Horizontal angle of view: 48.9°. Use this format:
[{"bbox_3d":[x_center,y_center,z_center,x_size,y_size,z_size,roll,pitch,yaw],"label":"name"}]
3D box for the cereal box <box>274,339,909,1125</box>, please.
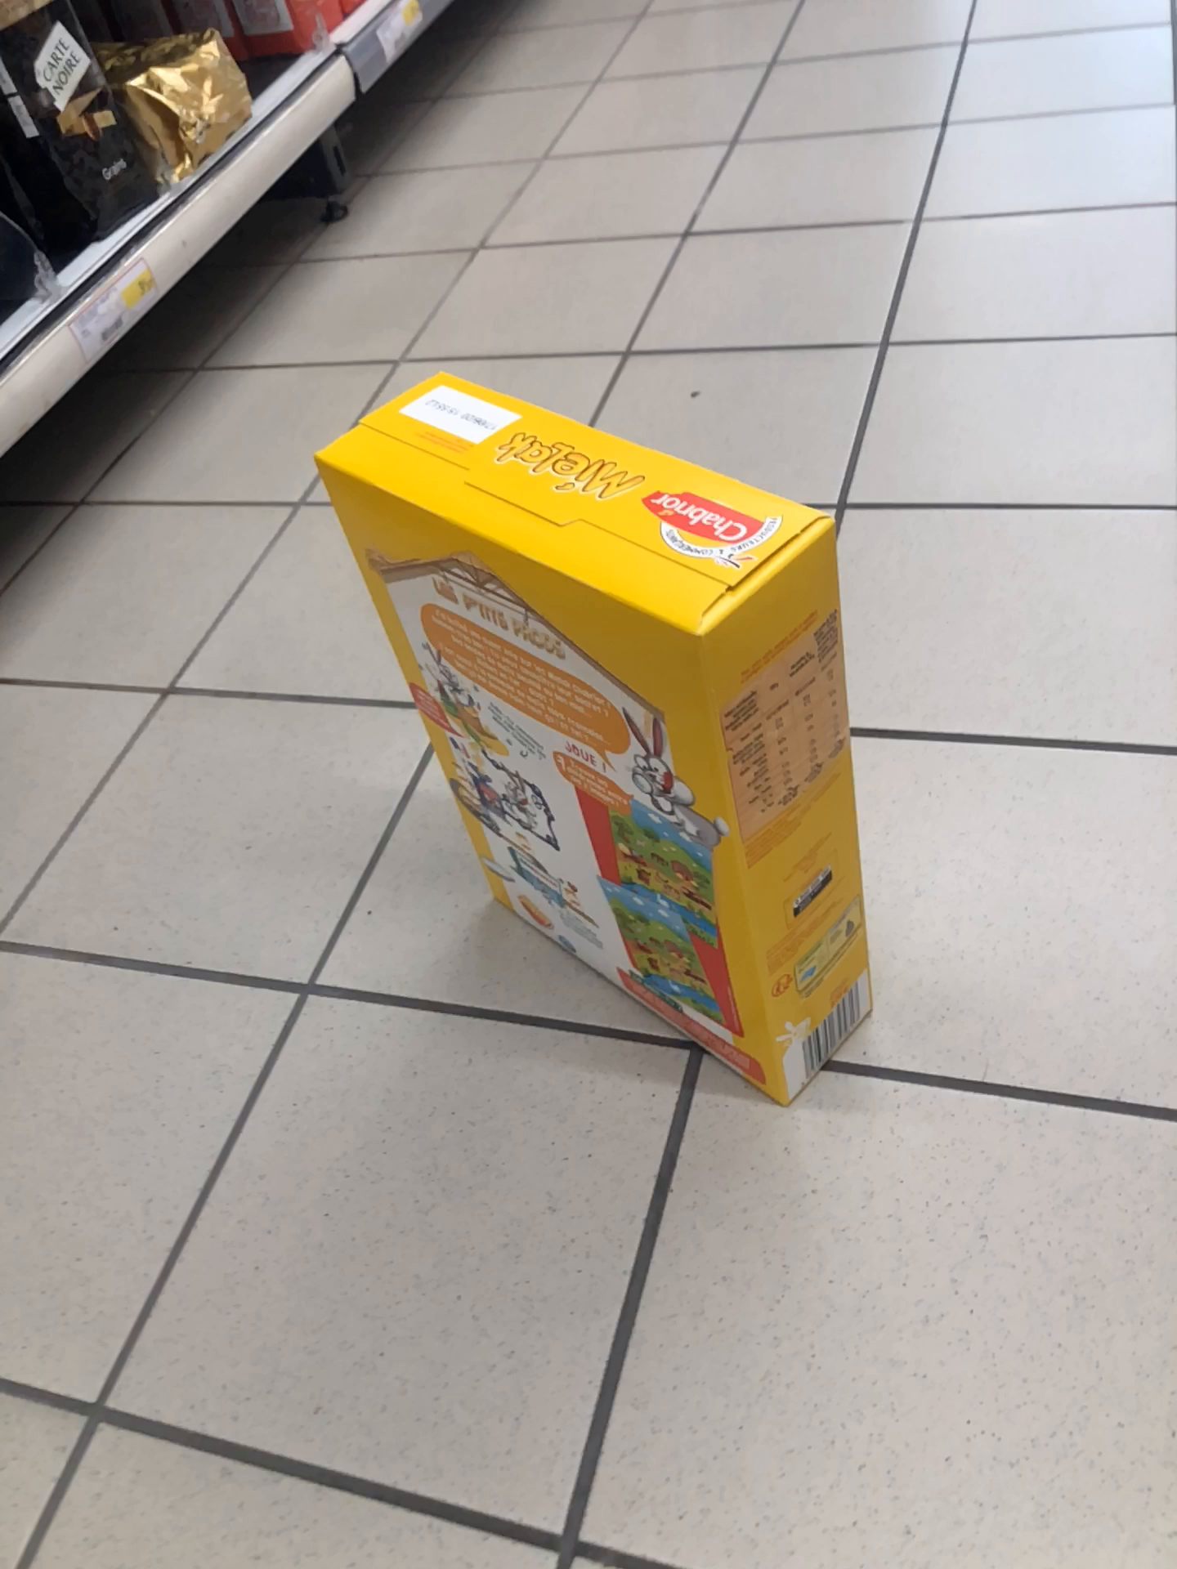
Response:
[{"bbox_3d":[0.012,-0.016,0.503,0.210,0.259,0.070,29,60,36],"label":"cereal box"}]
